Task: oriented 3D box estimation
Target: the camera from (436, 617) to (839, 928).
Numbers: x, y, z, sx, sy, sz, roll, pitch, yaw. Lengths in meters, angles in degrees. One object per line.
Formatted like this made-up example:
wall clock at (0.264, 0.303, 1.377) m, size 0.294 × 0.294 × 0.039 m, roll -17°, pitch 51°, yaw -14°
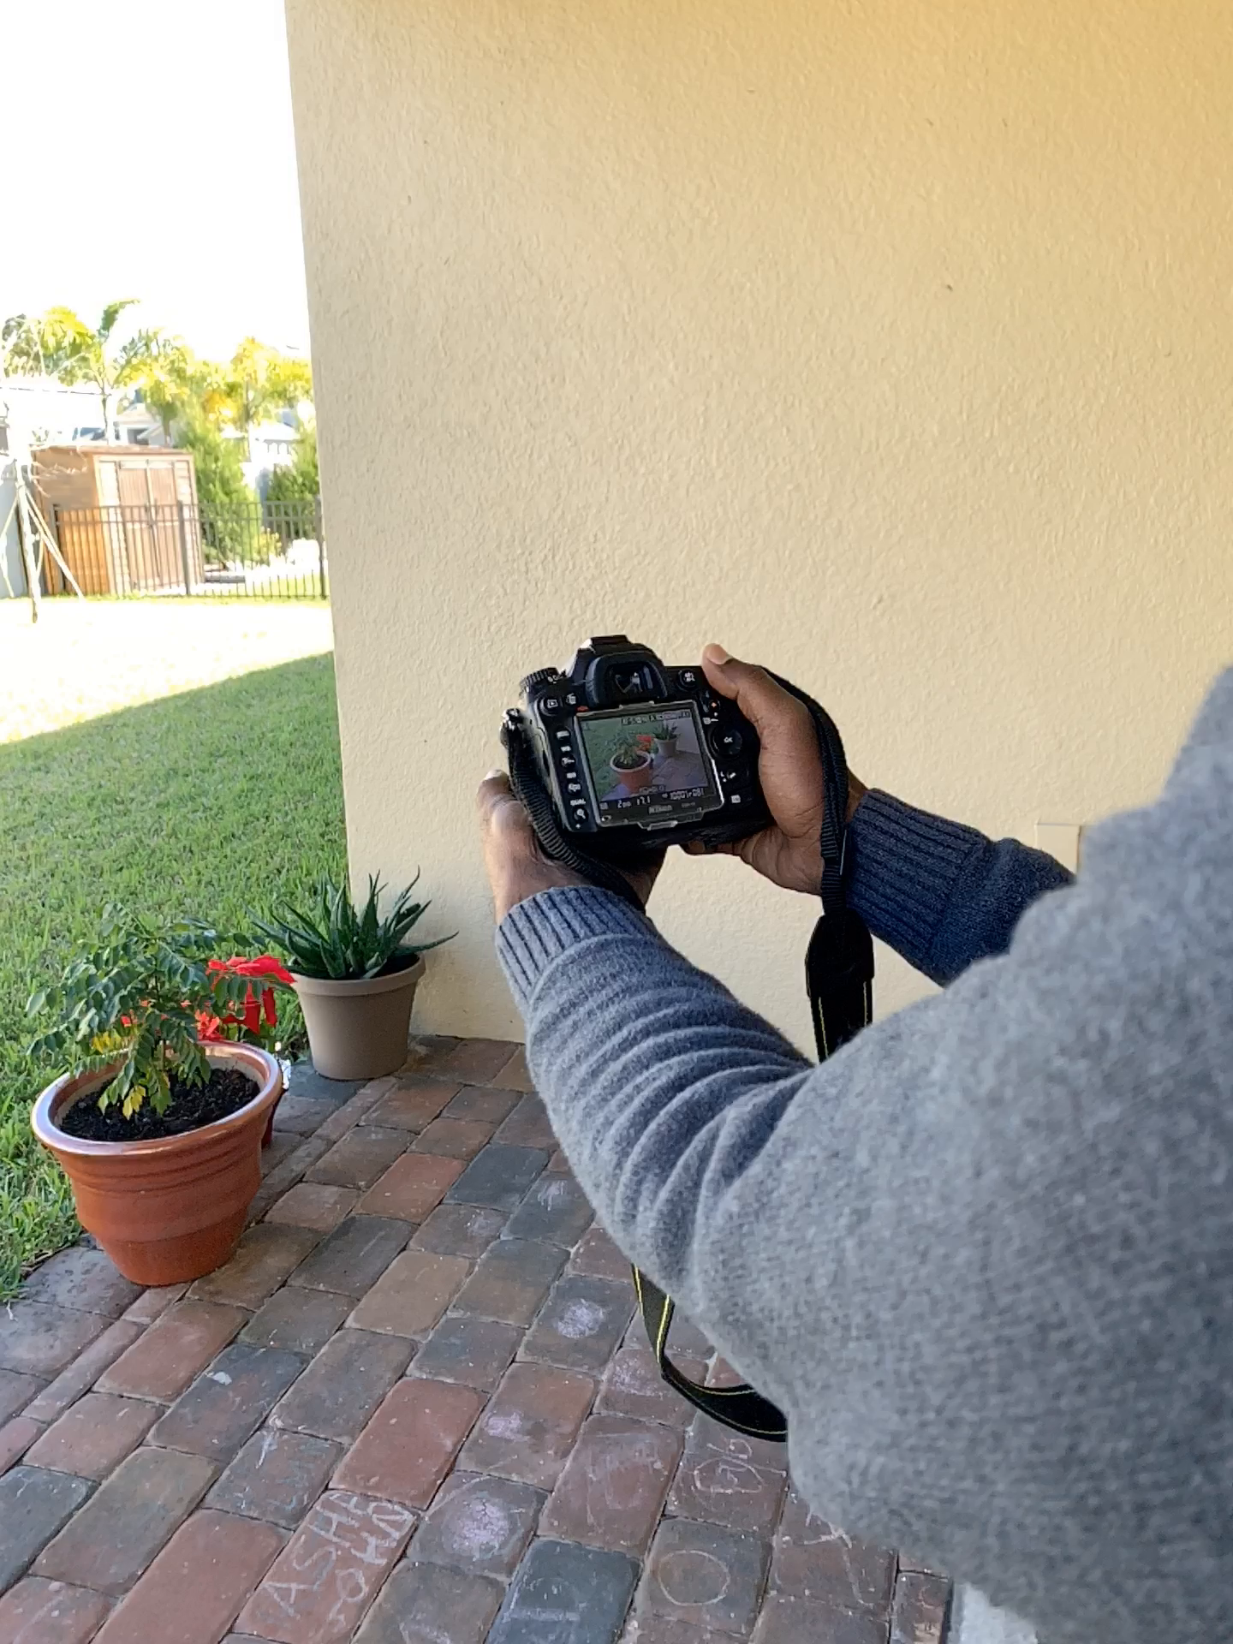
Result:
camera at (0.000, -0.020, 0.682) m, size 0.130 × 0.101 × 0.199 m, roll -8°, pitch -11°, yaw -25°
